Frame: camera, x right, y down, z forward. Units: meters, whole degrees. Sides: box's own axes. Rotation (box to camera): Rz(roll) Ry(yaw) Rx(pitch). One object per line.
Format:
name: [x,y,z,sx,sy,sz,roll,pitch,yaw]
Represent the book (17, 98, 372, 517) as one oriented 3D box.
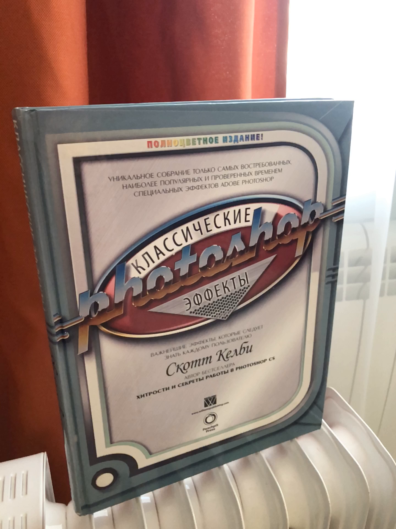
book: [0.010,0.027,0.324,0.225,0.276,0.040,-10,23,-23]
